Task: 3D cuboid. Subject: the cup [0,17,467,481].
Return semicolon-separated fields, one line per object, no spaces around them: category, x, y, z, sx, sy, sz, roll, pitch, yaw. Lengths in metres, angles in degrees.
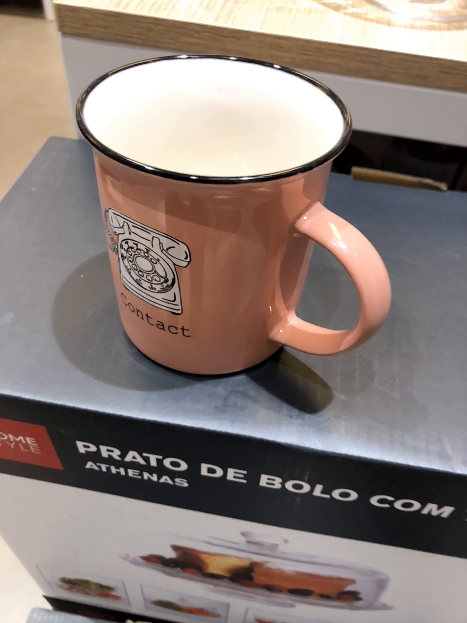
cup;-0.005;-0.025;0.176;0.110;0.089;0.080;29;53;20
